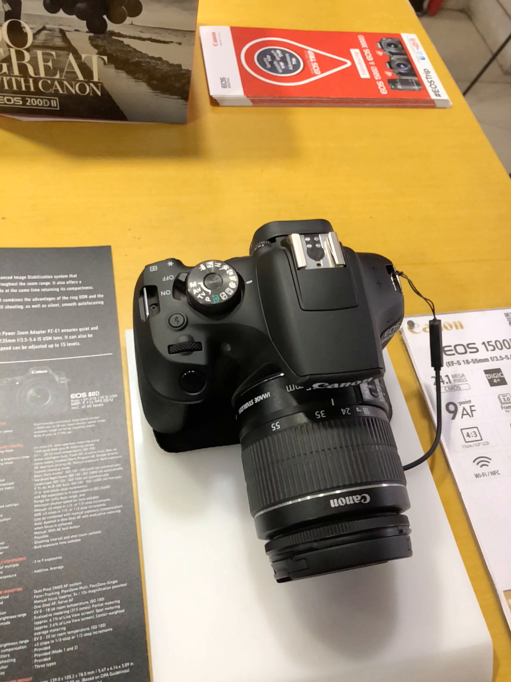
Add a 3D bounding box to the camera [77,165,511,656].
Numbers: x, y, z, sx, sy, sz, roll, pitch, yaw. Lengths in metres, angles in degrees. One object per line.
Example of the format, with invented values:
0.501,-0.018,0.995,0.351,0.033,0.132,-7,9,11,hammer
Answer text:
0.015,0.020,0.212,0.140,0.090,0.141,-6,58,-12,camera
